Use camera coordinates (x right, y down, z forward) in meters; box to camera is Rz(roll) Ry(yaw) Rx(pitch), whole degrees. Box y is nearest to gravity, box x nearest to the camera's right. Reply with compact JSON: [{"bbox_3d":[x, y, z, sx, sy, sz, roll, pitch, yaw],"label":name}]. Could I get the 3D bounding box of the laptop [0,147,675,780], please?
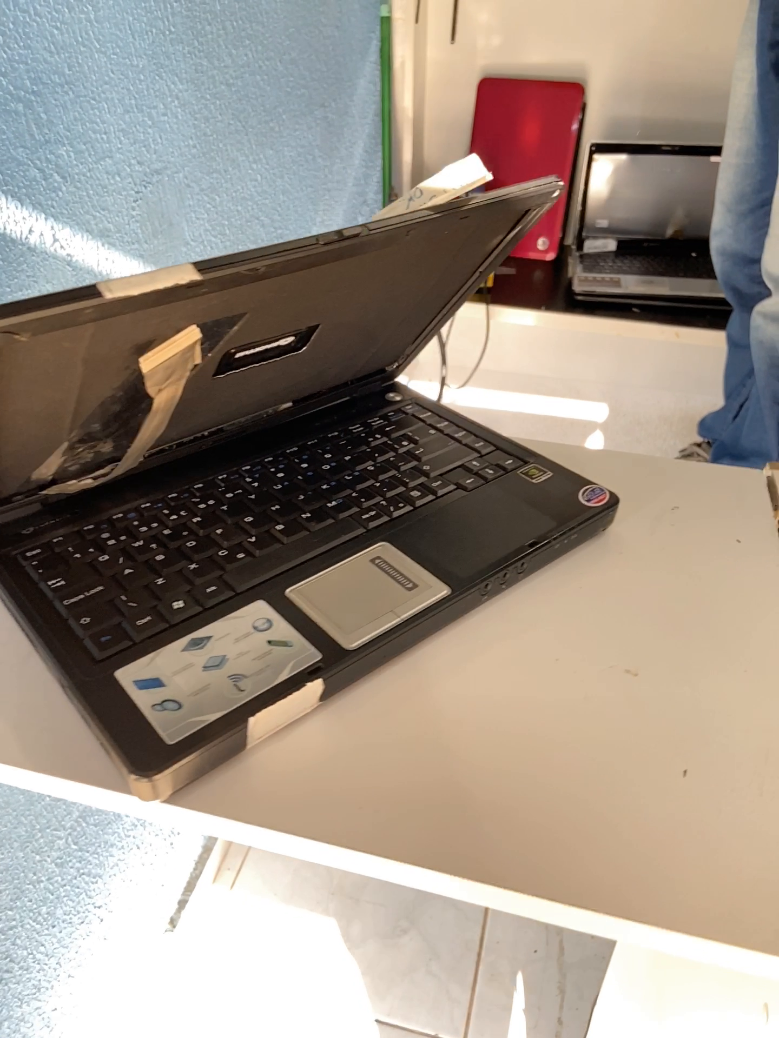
[{"bbox_3d":[-0.050,-0.074,0.442,0.329,0.174,0.224,-26,42,-33],"label":"laptop"}]
